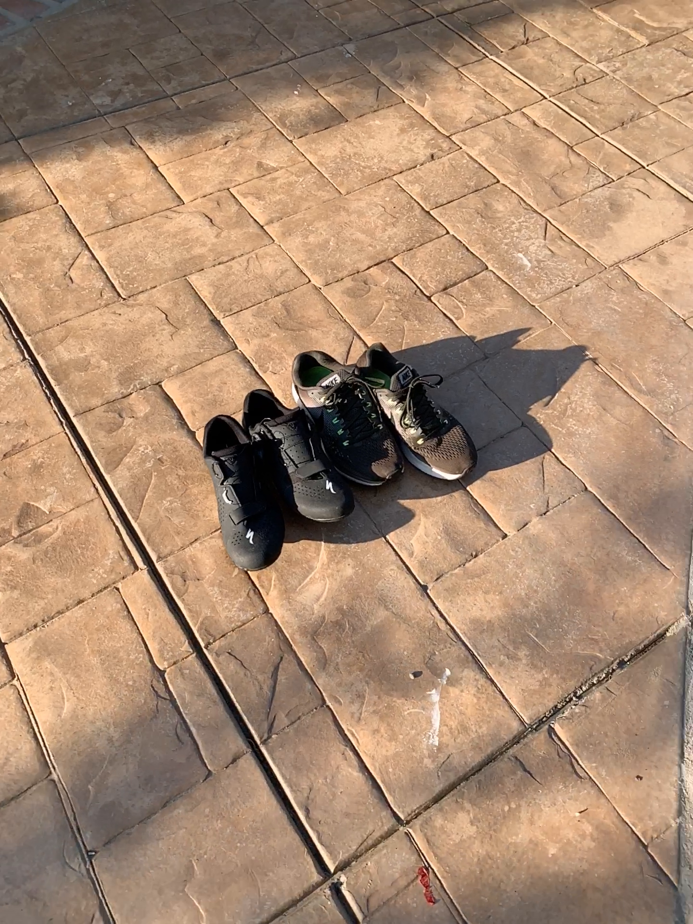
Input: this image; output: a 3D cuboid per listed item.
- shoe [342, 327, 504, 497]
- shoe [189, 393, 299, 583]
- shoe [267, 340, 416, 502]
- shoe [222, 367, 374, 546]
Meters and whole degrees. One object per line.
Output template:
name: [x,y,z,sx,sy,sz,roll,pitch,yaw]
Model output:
shoe: [0.117,-0.088,1.164,0.120,0.080,0.271,-28,60,-19]
shoe: [-0.154,0.031,1.044,0.100,0.070,0.271,-14,57,-10]
shoe: [-0.013,-0.074,1.174,0.120,0.070,0.261,-28,60,-19]
shoe: [-0.075,-0.015,1.045,0.100,0.070,0.261,-28,60,-19]
